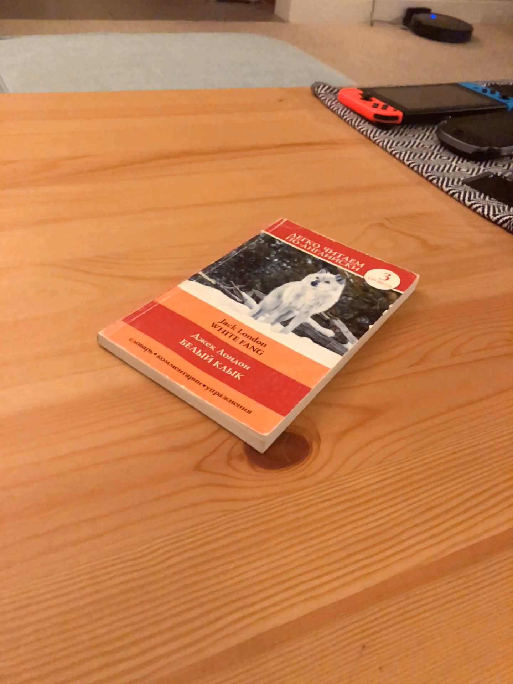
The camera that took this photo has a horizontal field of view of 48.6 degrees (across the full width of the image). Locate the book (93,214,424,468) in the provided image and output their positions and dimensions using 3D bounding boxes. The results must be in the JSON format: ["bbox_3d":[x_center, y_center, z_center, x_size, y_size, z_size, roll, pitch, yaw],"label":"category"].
[{"bbox_3d":[0.012,-0.020,0.388,0.129,0.020,0.205,29,45,23],"label":"book"}]
